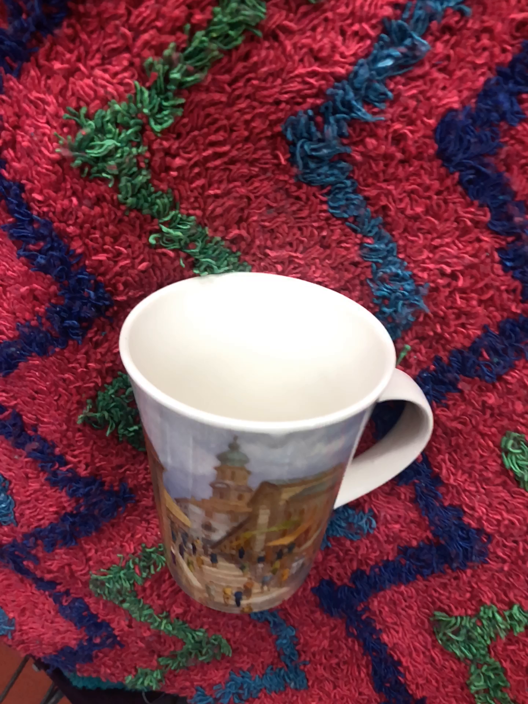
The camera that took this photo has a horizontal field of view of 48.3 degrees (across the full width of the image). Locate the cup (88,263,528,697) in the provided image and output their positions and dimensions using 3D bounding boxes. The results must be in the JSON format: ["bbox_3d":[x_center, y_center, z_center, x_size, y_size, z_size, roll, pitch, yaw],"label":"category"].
[{"bbox_3d":[0.005,0.033,0.204,0.110,0.090,0.090,-8,126,-23],"label":"cup"}]
